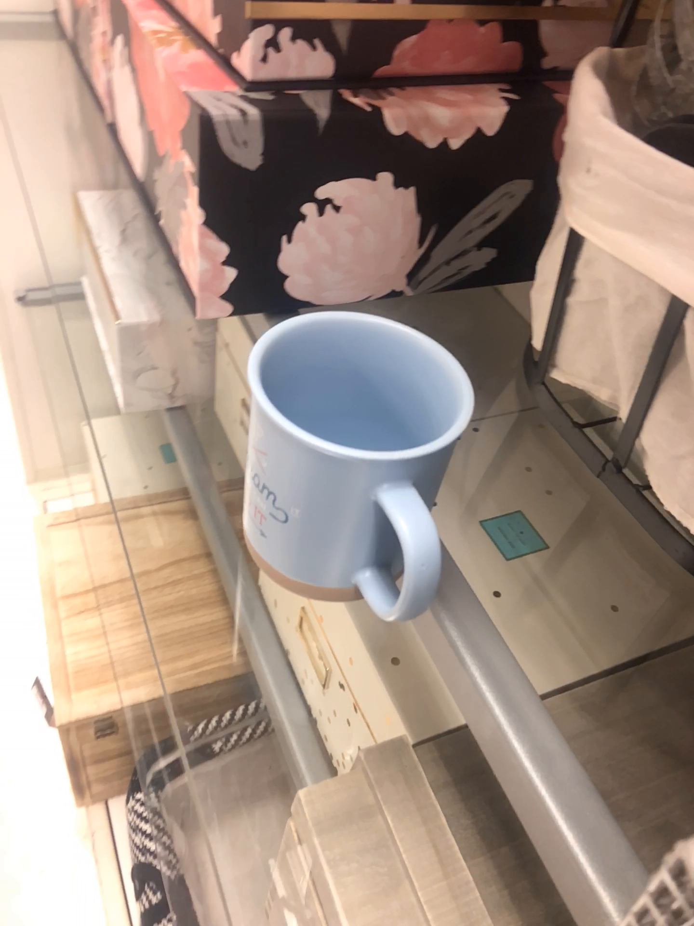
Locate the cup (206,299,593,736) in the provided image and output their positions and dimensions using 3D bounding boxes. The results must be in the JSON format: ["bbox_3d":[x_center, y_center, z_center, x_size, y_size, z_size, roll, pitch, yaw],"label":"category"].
[{"bbox_3d":[0.008,0.016,0.330,0.100,0.100,0.139,-12,48,-22],"label":"cup"}]
